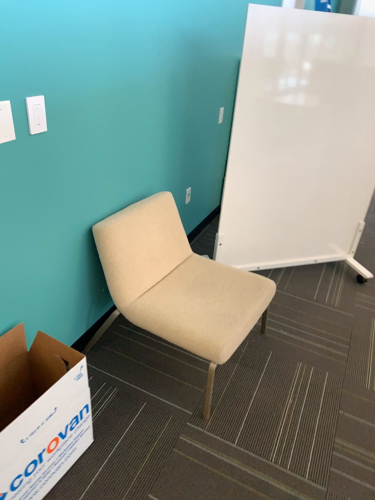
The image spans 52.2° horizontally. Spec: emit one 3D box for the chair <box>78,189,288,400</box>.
[{"bbox_3d":[-0.012,0.149,1.894,0.731,0.567,0.662,20,34,24],"label":"chair"}]
